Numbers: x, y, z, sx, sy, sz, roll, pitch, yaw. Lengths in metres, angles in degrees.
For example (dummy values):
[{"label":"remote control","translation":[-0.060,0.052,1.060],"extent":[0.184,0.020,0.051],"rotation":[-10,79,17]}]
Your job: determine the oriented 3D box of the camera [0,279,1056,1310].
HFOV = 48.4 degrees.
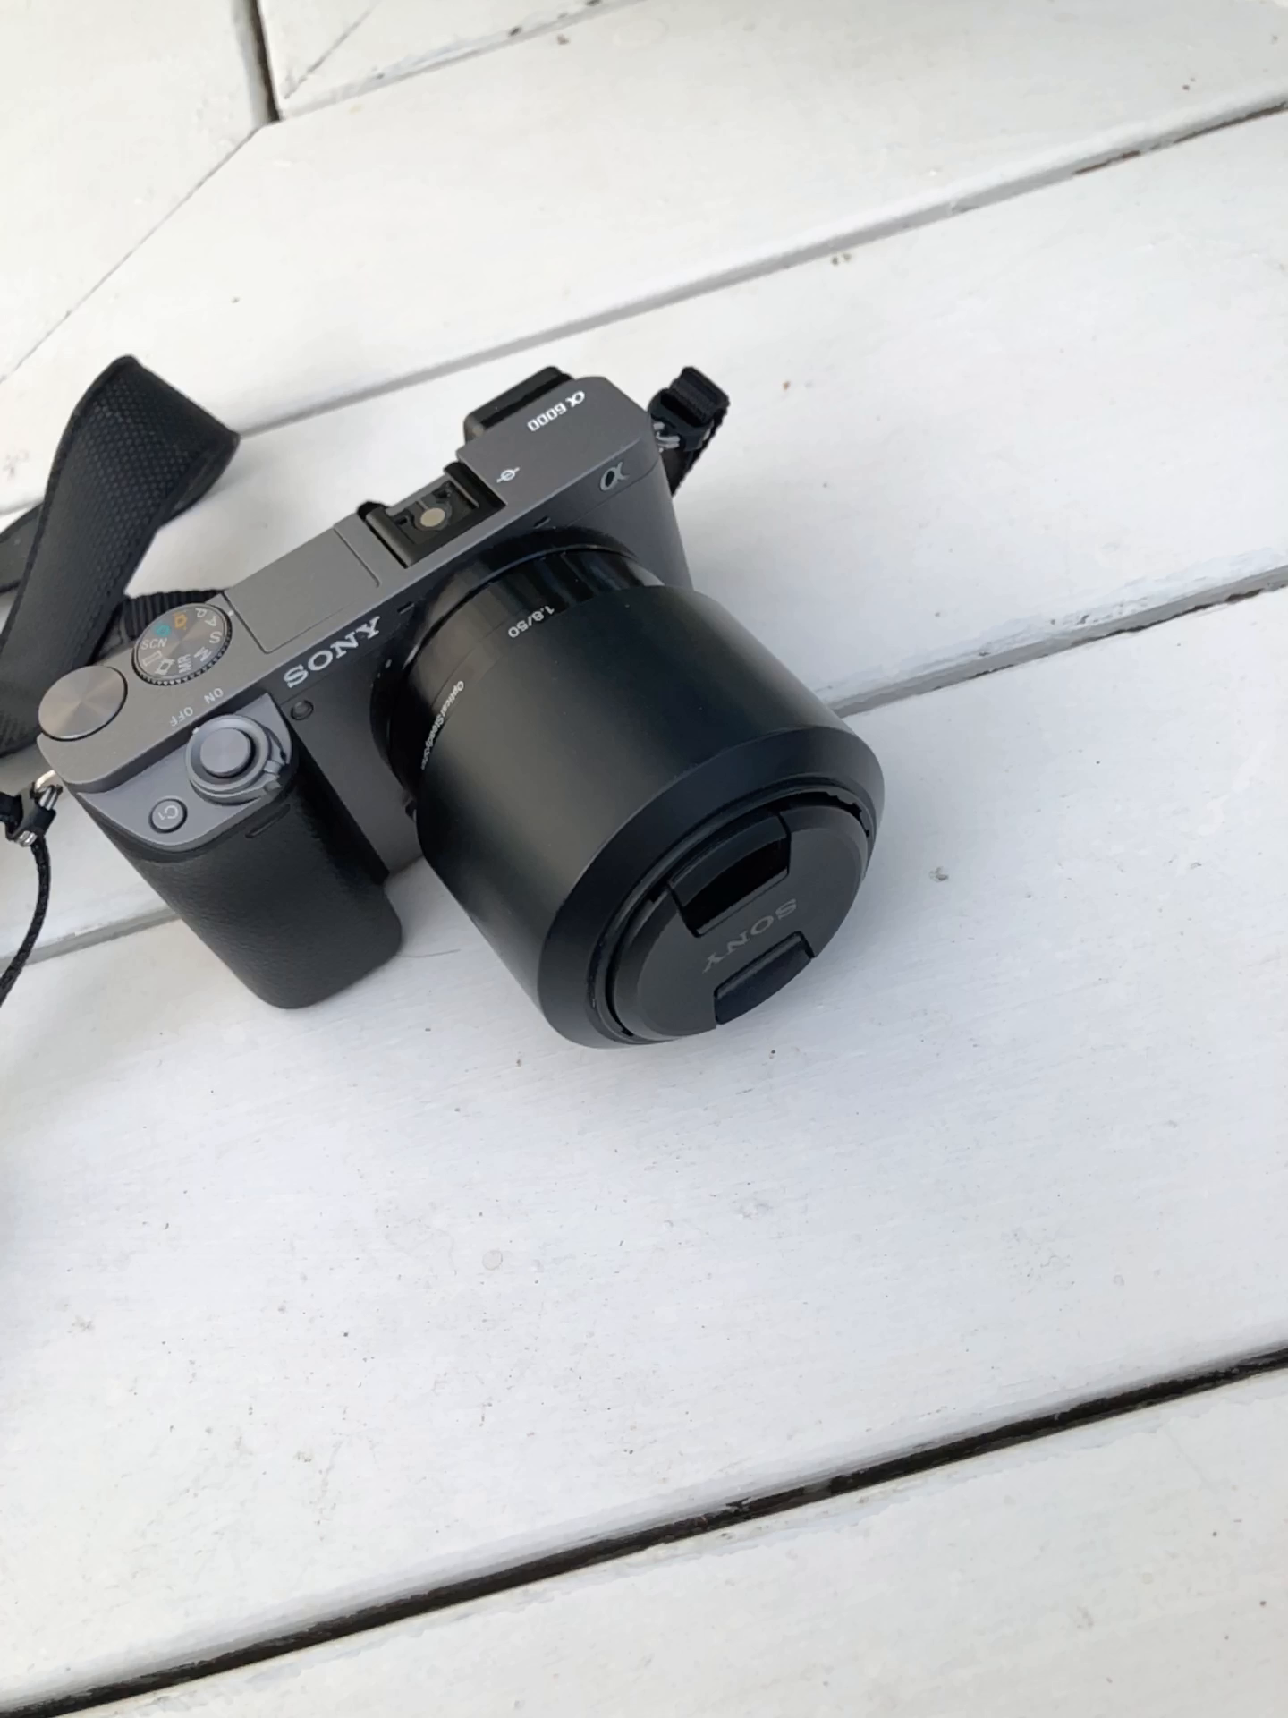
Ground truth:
[{"label":"camera","translation":[-0.021,-0.017,0.255],"extent":[0.140,0.070,0.110],"rotation":[-35,57,-12]}]
